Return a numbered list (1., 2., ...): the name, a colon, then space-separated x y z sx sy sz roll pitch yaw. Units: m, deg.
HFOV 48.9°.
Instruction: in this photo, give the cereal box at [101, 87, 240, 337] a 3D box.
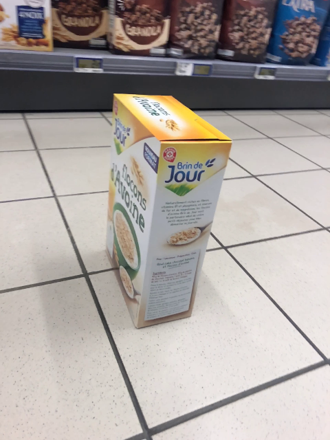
1. cereal box: -0.014 -0.016 0.391 0.070 0.209 0.160 -6 32 -22
